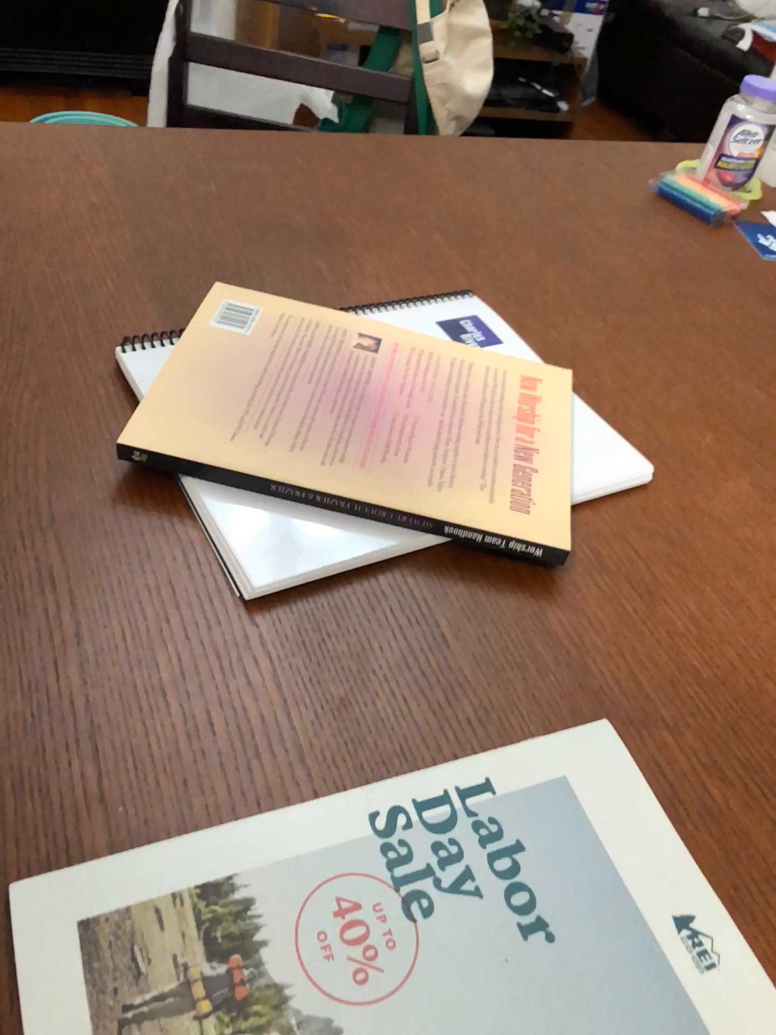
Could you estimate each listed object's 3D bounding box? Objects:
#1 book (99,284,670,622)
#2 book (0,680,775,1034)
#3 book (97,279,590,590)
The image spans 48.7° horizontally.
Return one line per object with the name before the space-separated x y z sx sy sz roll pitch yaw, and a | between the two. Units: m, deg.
book | -0.004 -0.066 0.548 0.291 0.020 0.231 -16 50 -27
book | 0.016 0.168 0.294 0.270 0.010 0.201 -9 47 -22
book | -0.010 -0.062 0.517 0.260 0.020 0.191 13 43 0
